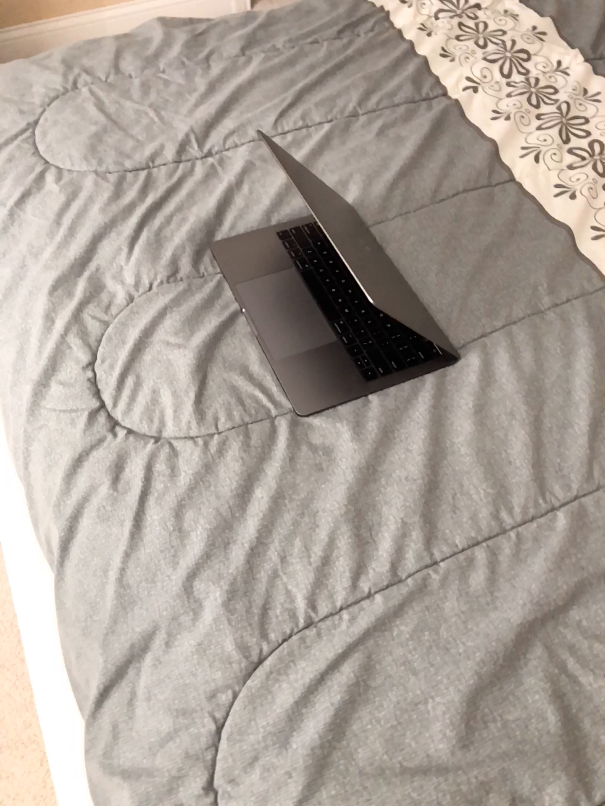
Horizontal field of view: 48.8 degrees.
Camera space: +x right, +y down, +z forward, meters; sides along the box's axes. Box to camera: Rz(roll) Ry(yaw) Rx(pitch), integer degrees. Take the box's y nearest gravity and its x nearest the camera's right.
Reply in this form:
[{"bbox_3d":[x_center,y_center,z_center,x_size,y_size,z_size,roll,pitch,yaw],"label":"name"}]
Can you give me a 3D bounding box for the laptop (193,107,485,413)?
[{"bbox_3d":[0.026,-0.165,0.727,0.195,0.140,0.279,-19,57,-14],"label":"laptop"}]
